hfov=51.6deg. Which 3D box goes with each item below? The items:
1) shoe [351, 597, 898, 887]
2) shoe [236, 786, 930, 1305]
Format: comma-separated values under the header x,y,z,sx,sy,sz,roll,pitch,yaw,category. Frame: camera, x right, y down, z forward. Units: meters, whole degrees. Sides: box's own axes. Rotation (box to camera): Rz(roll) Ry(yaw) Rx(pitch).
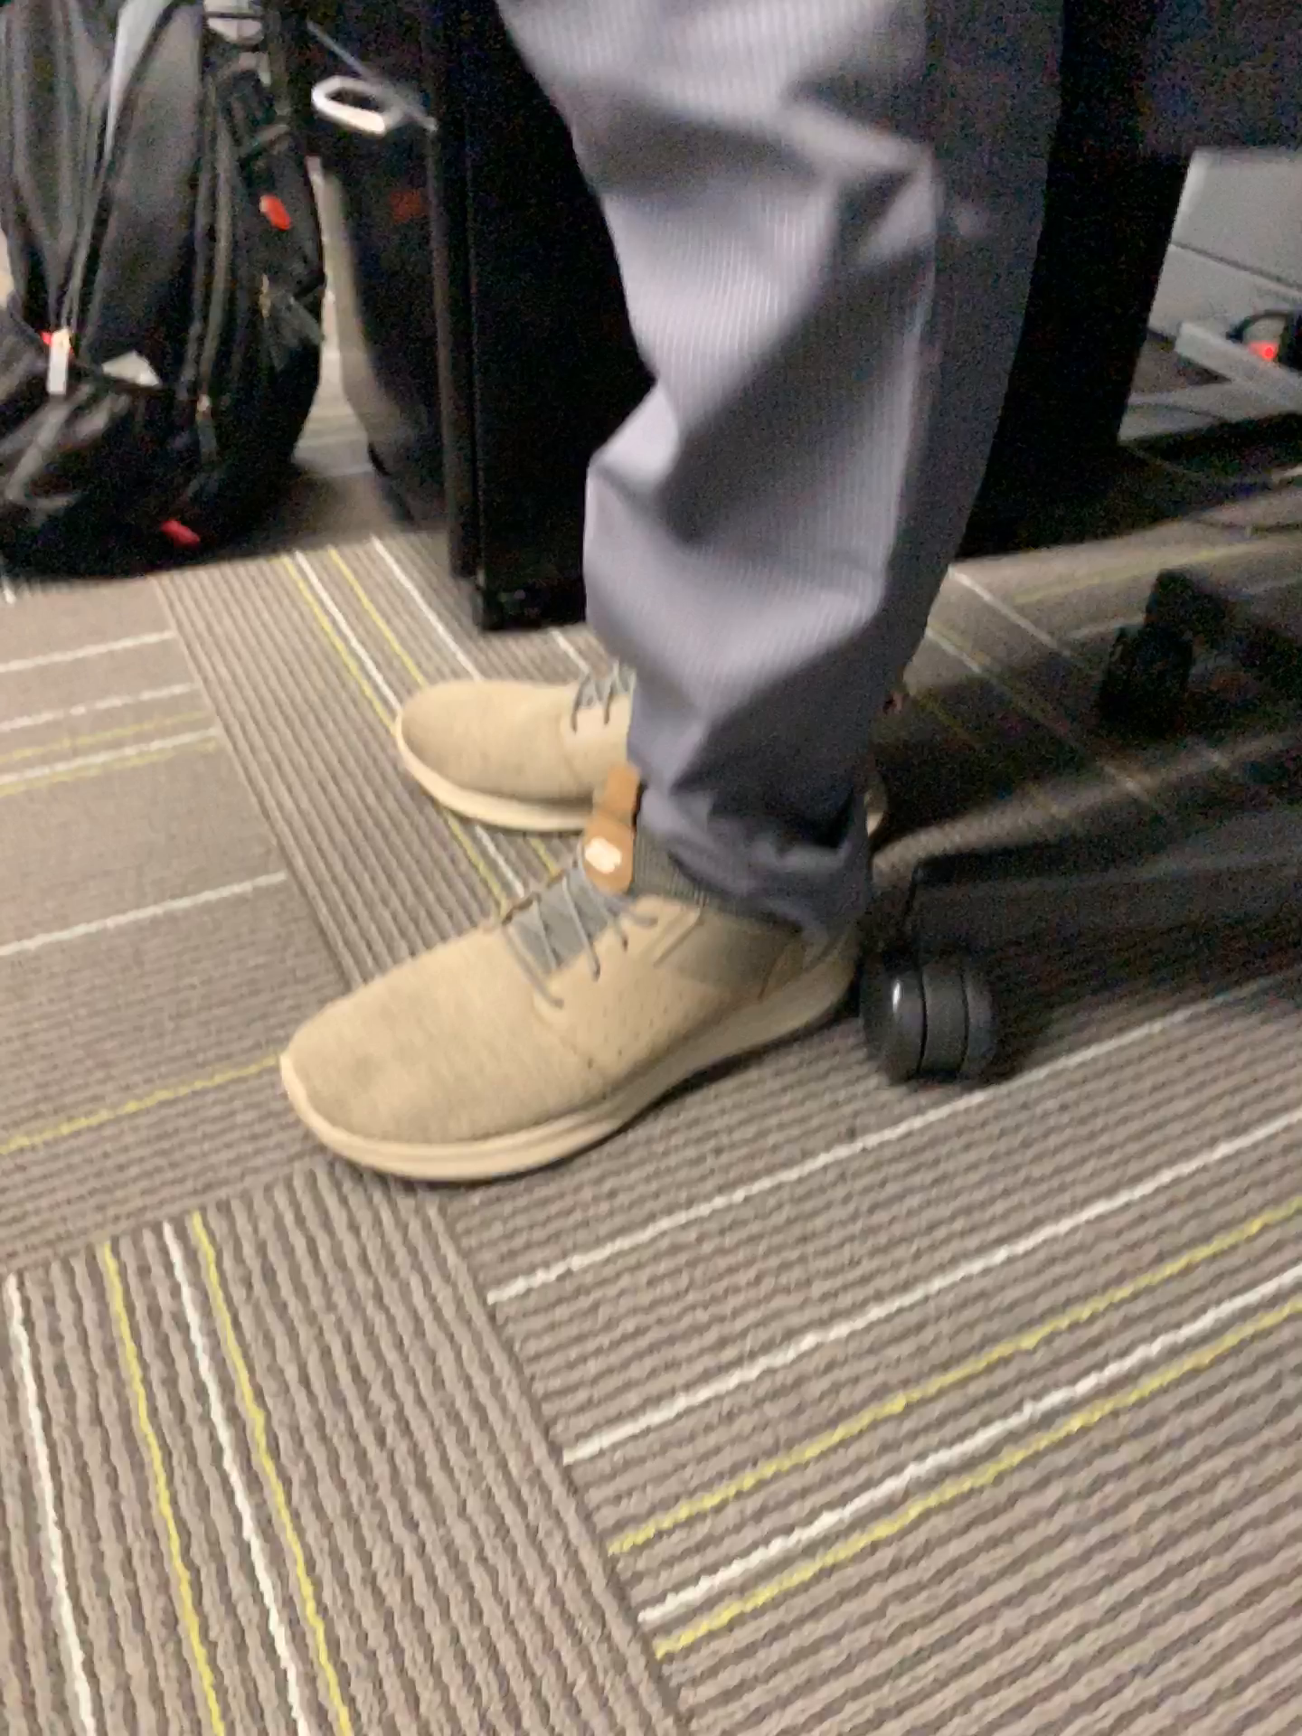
x,y,z,sx,sy,sz,roll,pitch,yaw,category
-0.012,-0.078,0.806,0.302,0.098,0.108,7,38,4,shoe
-0.028,0.072,0.660,0.302,0.098,0.126,-19,43,-25,shoe
